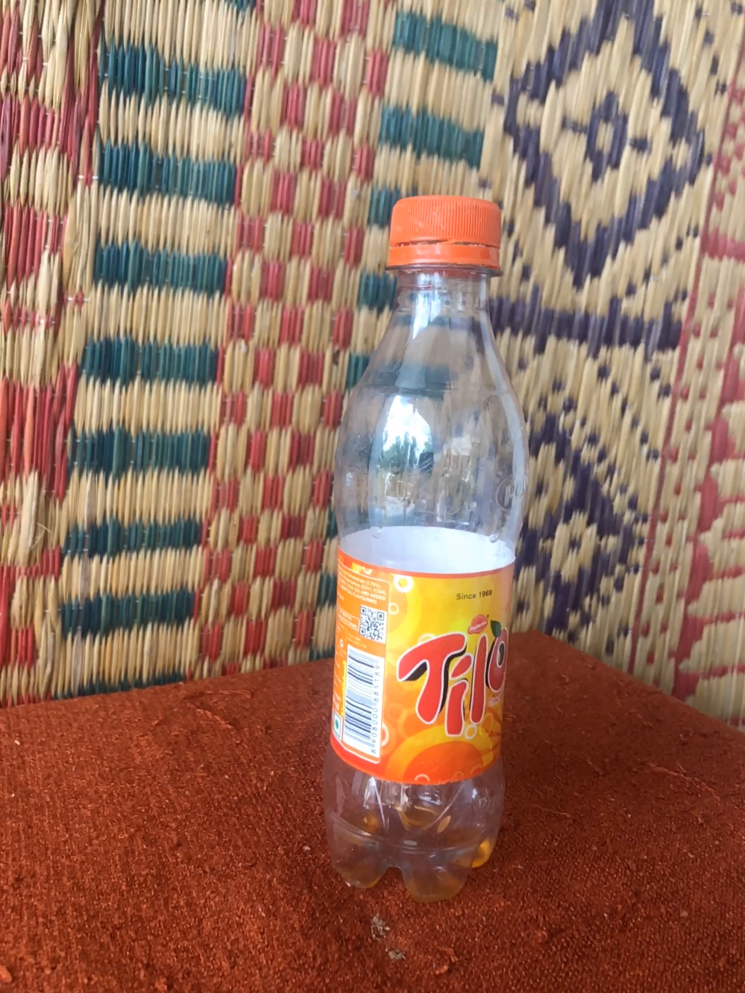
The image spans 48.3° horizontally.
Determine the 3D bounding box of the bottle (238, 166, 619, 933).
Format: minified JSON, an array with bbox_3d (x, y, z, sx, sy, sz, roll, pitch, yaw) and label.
[{"bbox_3d":[0.010,0.015,0.235,0.070,0.189,0.050,0,13,-28],"label":"bottle"}]
